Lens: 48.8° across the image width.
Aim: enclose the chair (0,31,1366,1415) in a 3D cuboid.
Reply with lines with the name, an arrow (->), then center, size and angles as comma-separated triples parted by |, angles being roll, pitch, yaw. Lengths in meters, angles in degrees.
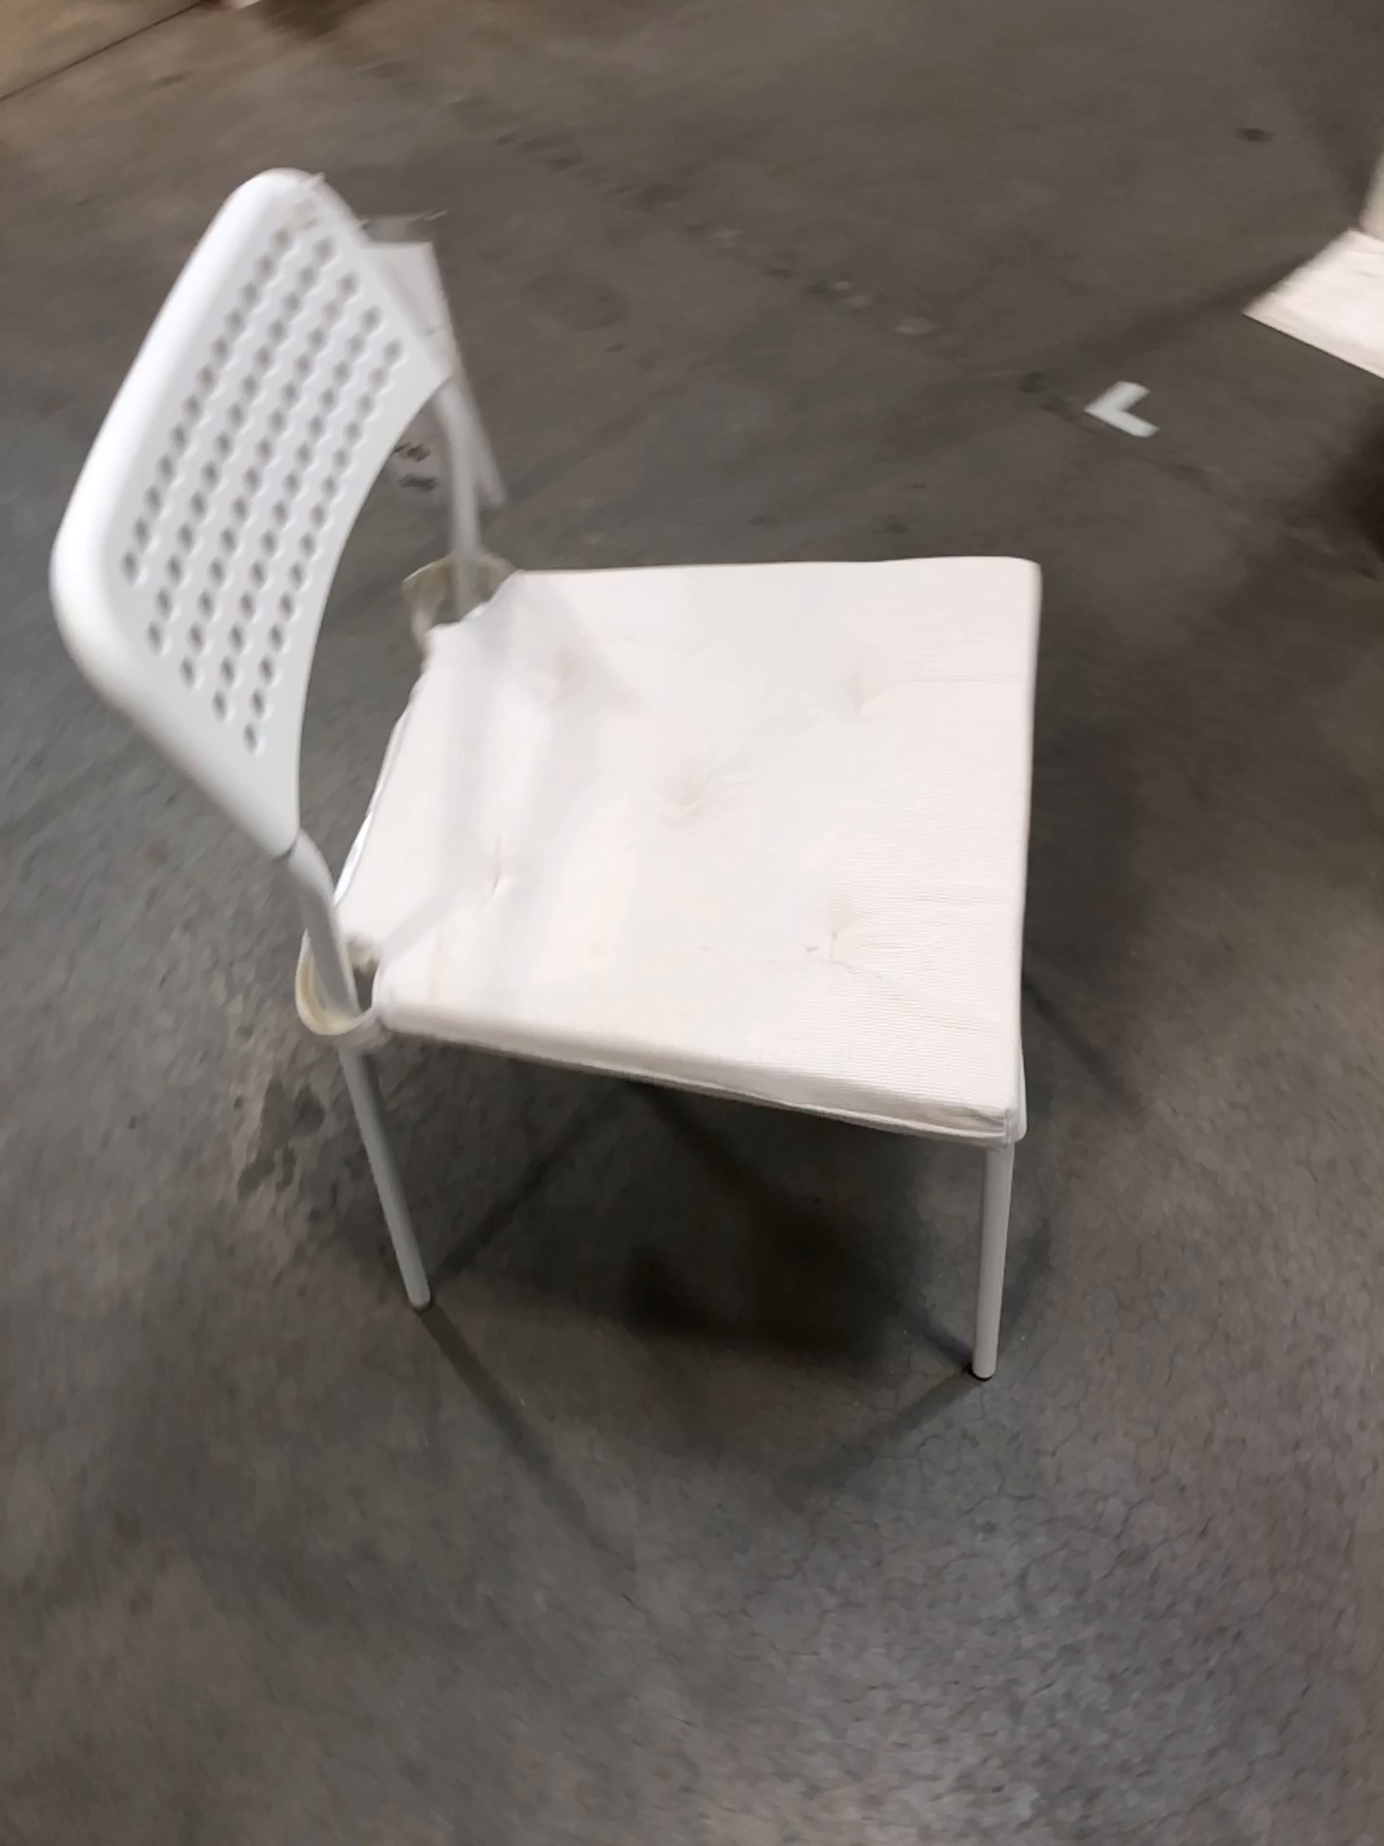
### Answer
chair -> 0.013, -0.062, 0.979 | 0.530, 0.738, 0.481 | 2, 55, 7
